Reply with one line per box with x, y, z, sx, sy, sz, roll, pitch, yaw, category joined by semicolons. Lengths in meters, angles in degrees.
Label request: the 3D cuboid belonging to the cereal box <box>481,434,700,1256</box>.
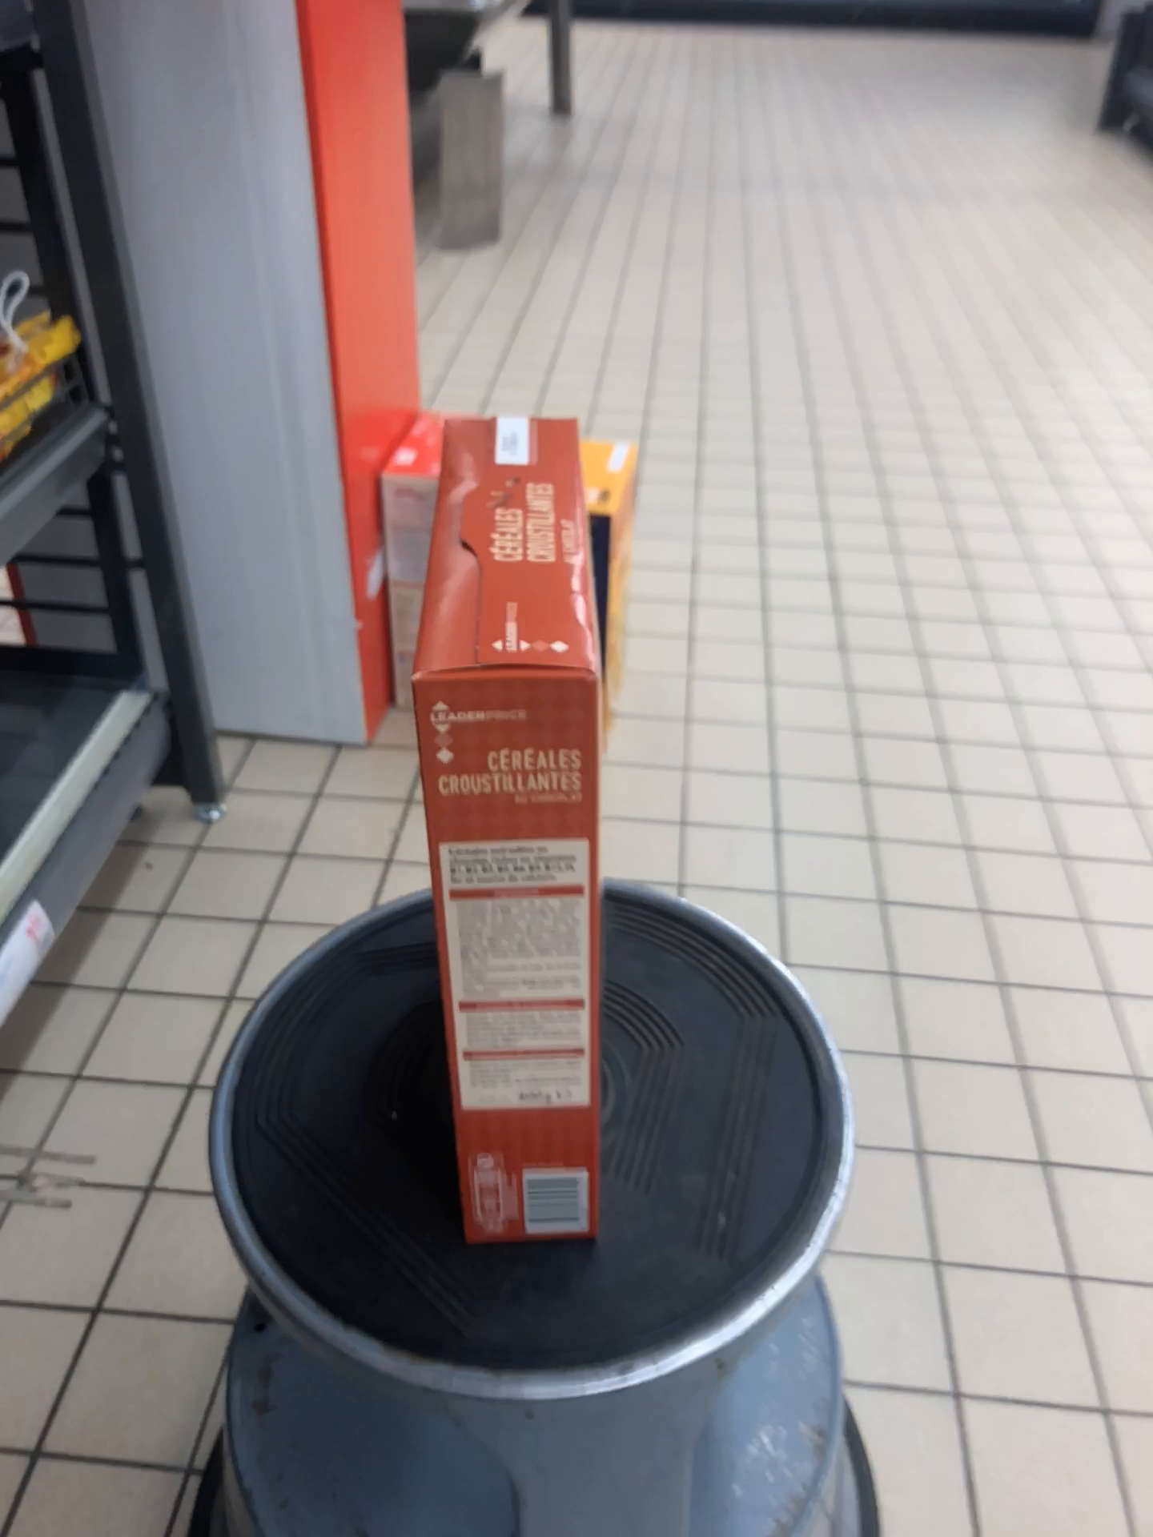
-0.002;0.029;0.501;0.060;0.258;0.191;-1;36;-2;cereal box
